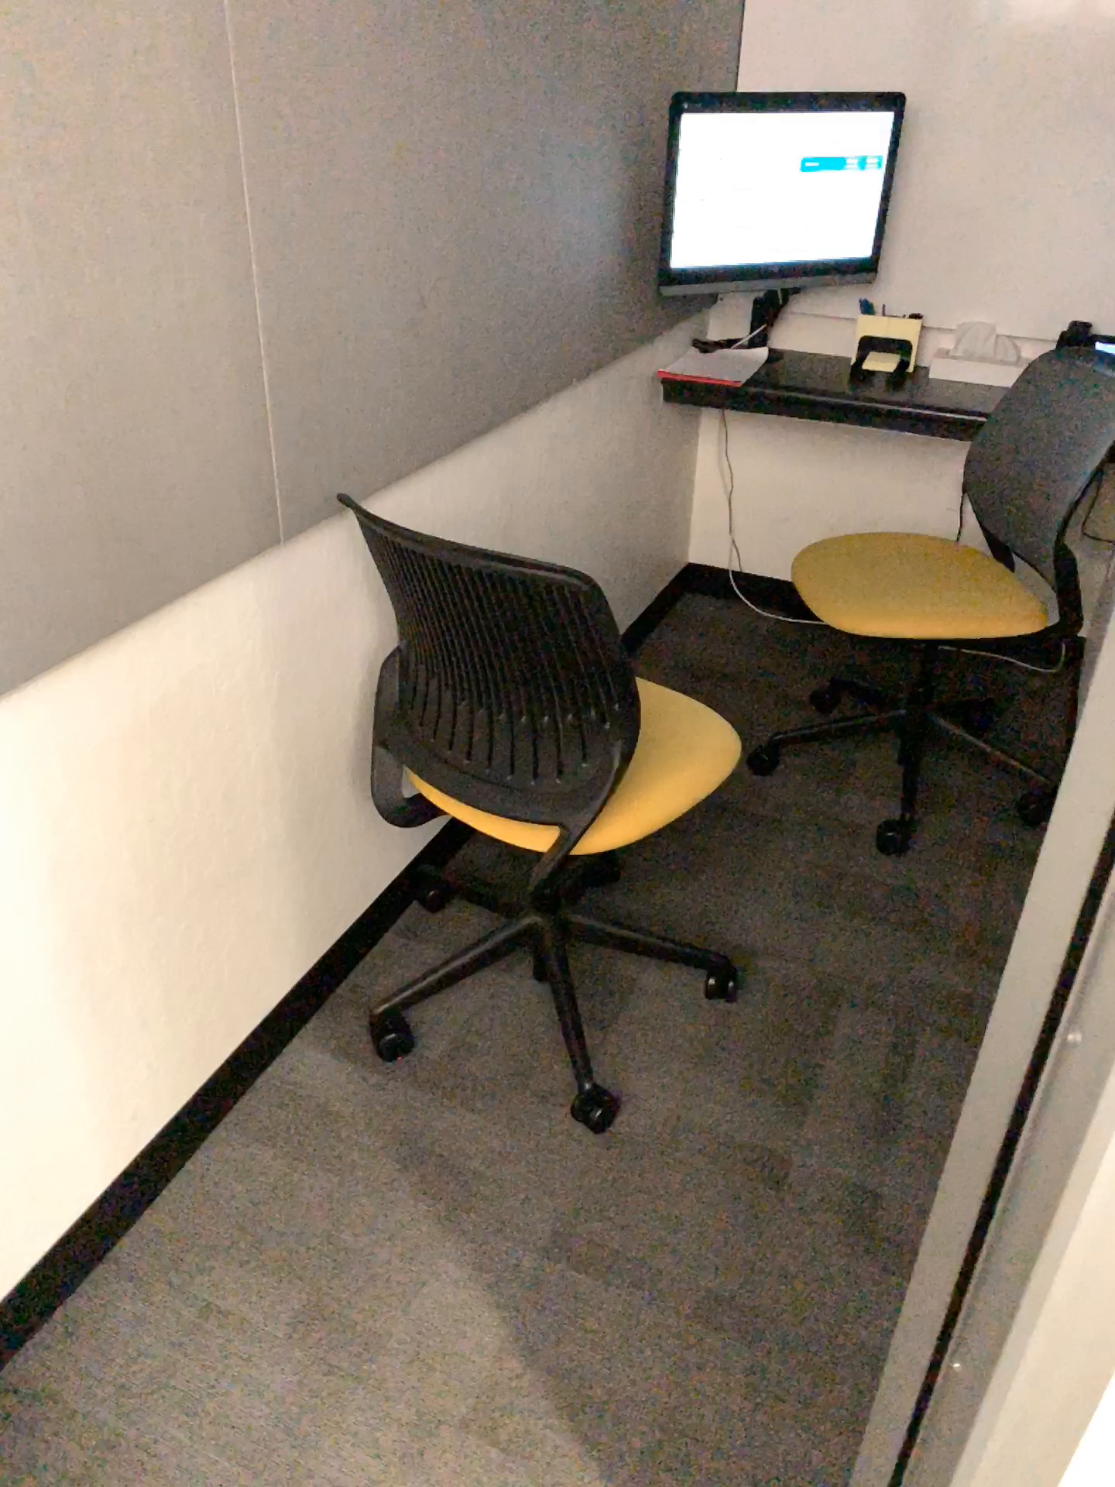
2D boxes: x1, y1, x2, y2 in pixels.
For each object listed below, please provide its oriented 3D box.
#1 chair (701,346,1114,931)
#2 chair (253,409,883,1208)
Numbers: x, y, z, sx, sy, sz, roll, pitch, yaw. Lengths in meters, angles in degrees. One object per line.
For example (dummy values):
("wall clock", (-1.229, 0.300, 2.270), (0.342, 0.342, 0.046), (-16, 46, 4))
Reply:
("chair", (0.989, -0.304, 2.722), (0.950, 1.034, 0.926), (-5, 32, -11))
("chair", (0.009, 0.052, 1.641), (0.552, 0.845, 0.571), (26, 39, 34))
